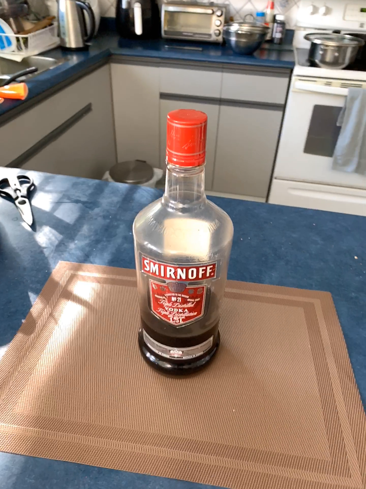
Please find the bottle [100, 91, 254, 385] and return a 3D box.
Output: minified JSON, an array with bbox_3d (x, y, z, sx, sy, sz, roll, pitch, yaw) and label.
[{"bbox_3d":[-0.004,0.011,0.429,0.120,0.317,0.111,1,36,-1],"label":"bottle"}]
